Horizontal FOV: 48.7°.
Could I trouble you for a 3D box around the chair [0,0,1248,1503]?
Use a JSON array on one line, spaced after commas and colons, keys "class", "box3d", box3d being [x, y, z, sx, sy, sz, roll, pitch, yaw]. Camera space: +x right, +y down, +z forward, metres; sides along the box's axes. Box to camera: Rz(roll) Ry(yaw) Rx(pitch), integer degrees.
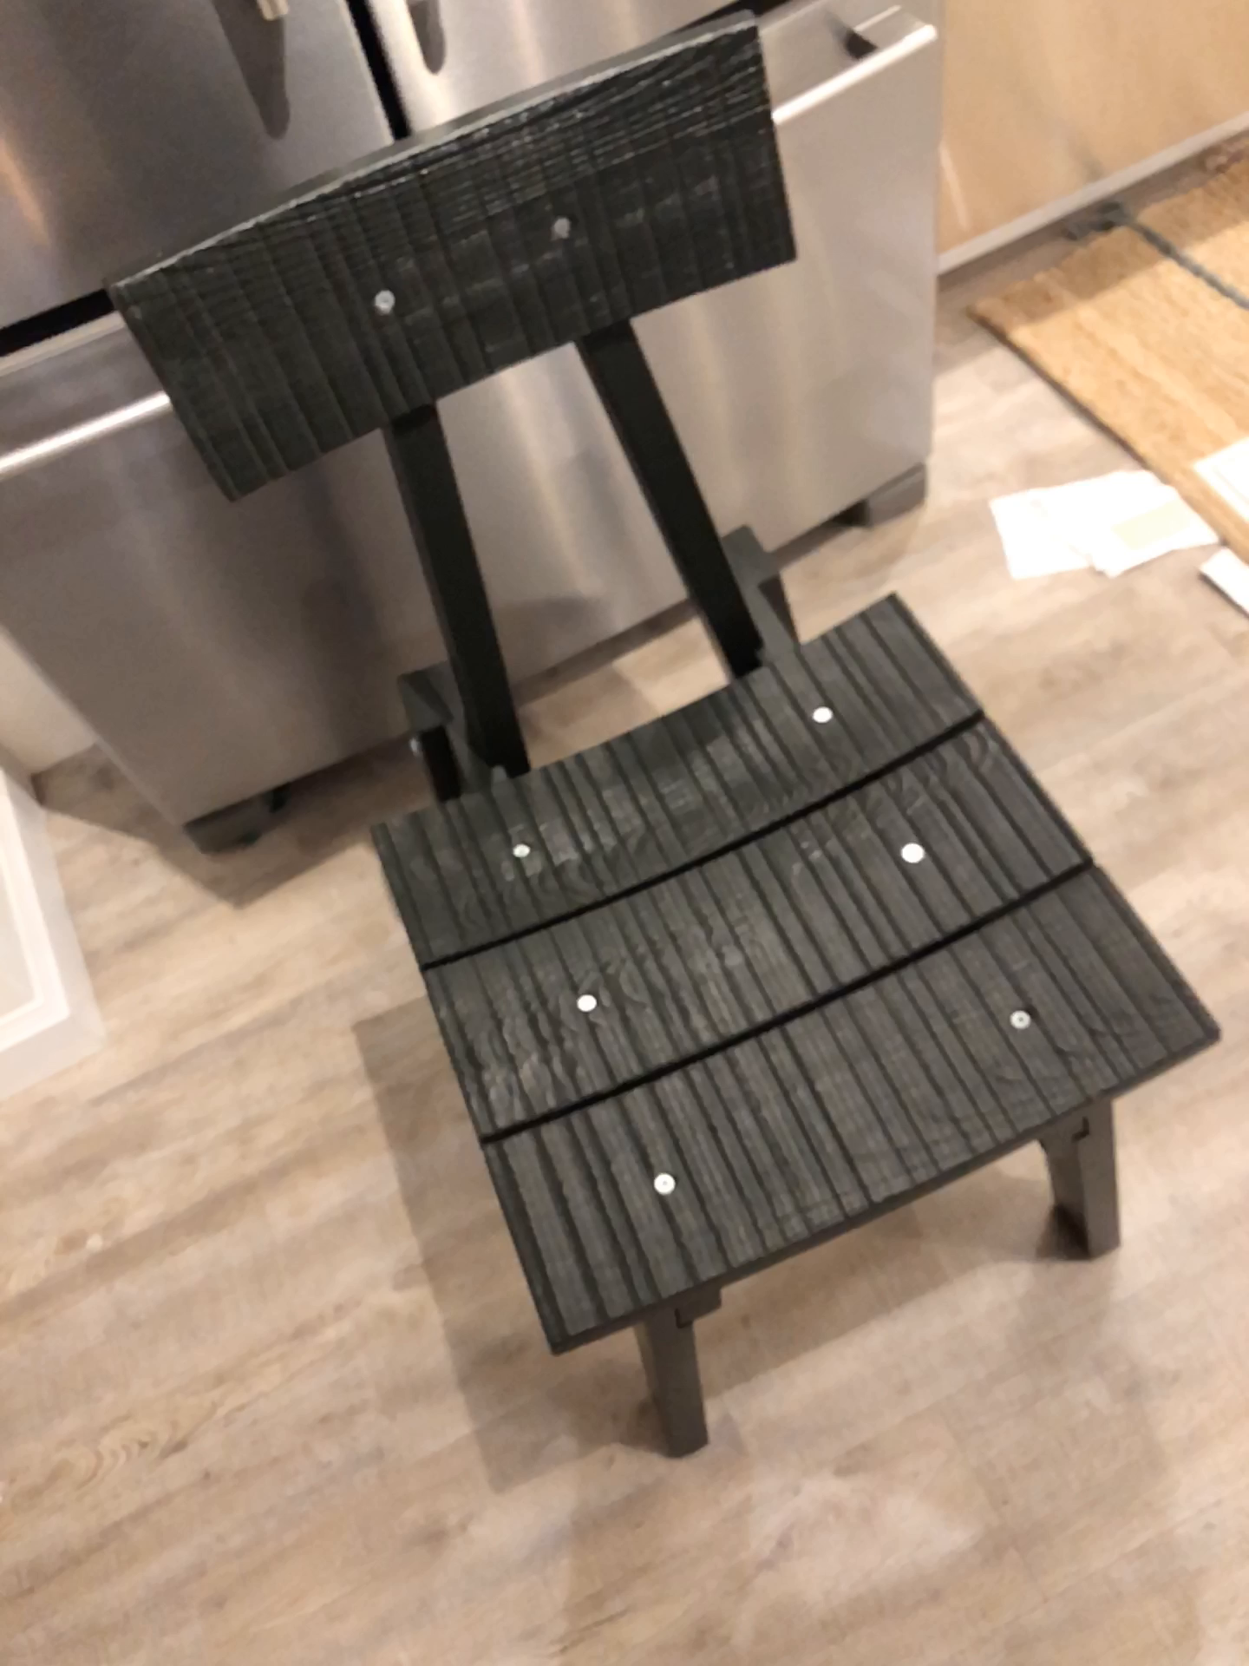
[{"class": "chair", "box3d": [0.049, 0.020, 0.863, 0.520, 0.796, 0.512, -23, 59, -2]}]
